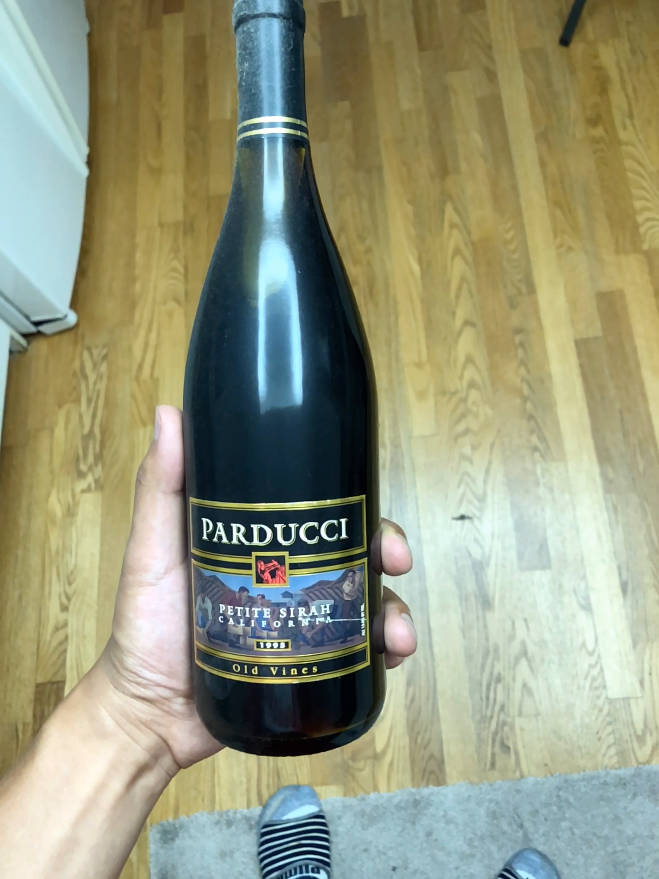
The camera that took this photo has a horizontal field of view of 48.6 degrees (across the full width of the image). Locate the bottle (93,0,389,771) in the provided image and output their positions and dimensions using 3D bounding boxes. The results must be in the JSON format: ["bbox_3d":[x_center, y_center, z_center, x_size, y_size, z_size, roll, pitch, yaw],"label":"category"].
[{"bbox_3d":[-0.025,-0.021,0.287,0.090,0.070,0.280,-1,98,5],"label":"bottle"}]
